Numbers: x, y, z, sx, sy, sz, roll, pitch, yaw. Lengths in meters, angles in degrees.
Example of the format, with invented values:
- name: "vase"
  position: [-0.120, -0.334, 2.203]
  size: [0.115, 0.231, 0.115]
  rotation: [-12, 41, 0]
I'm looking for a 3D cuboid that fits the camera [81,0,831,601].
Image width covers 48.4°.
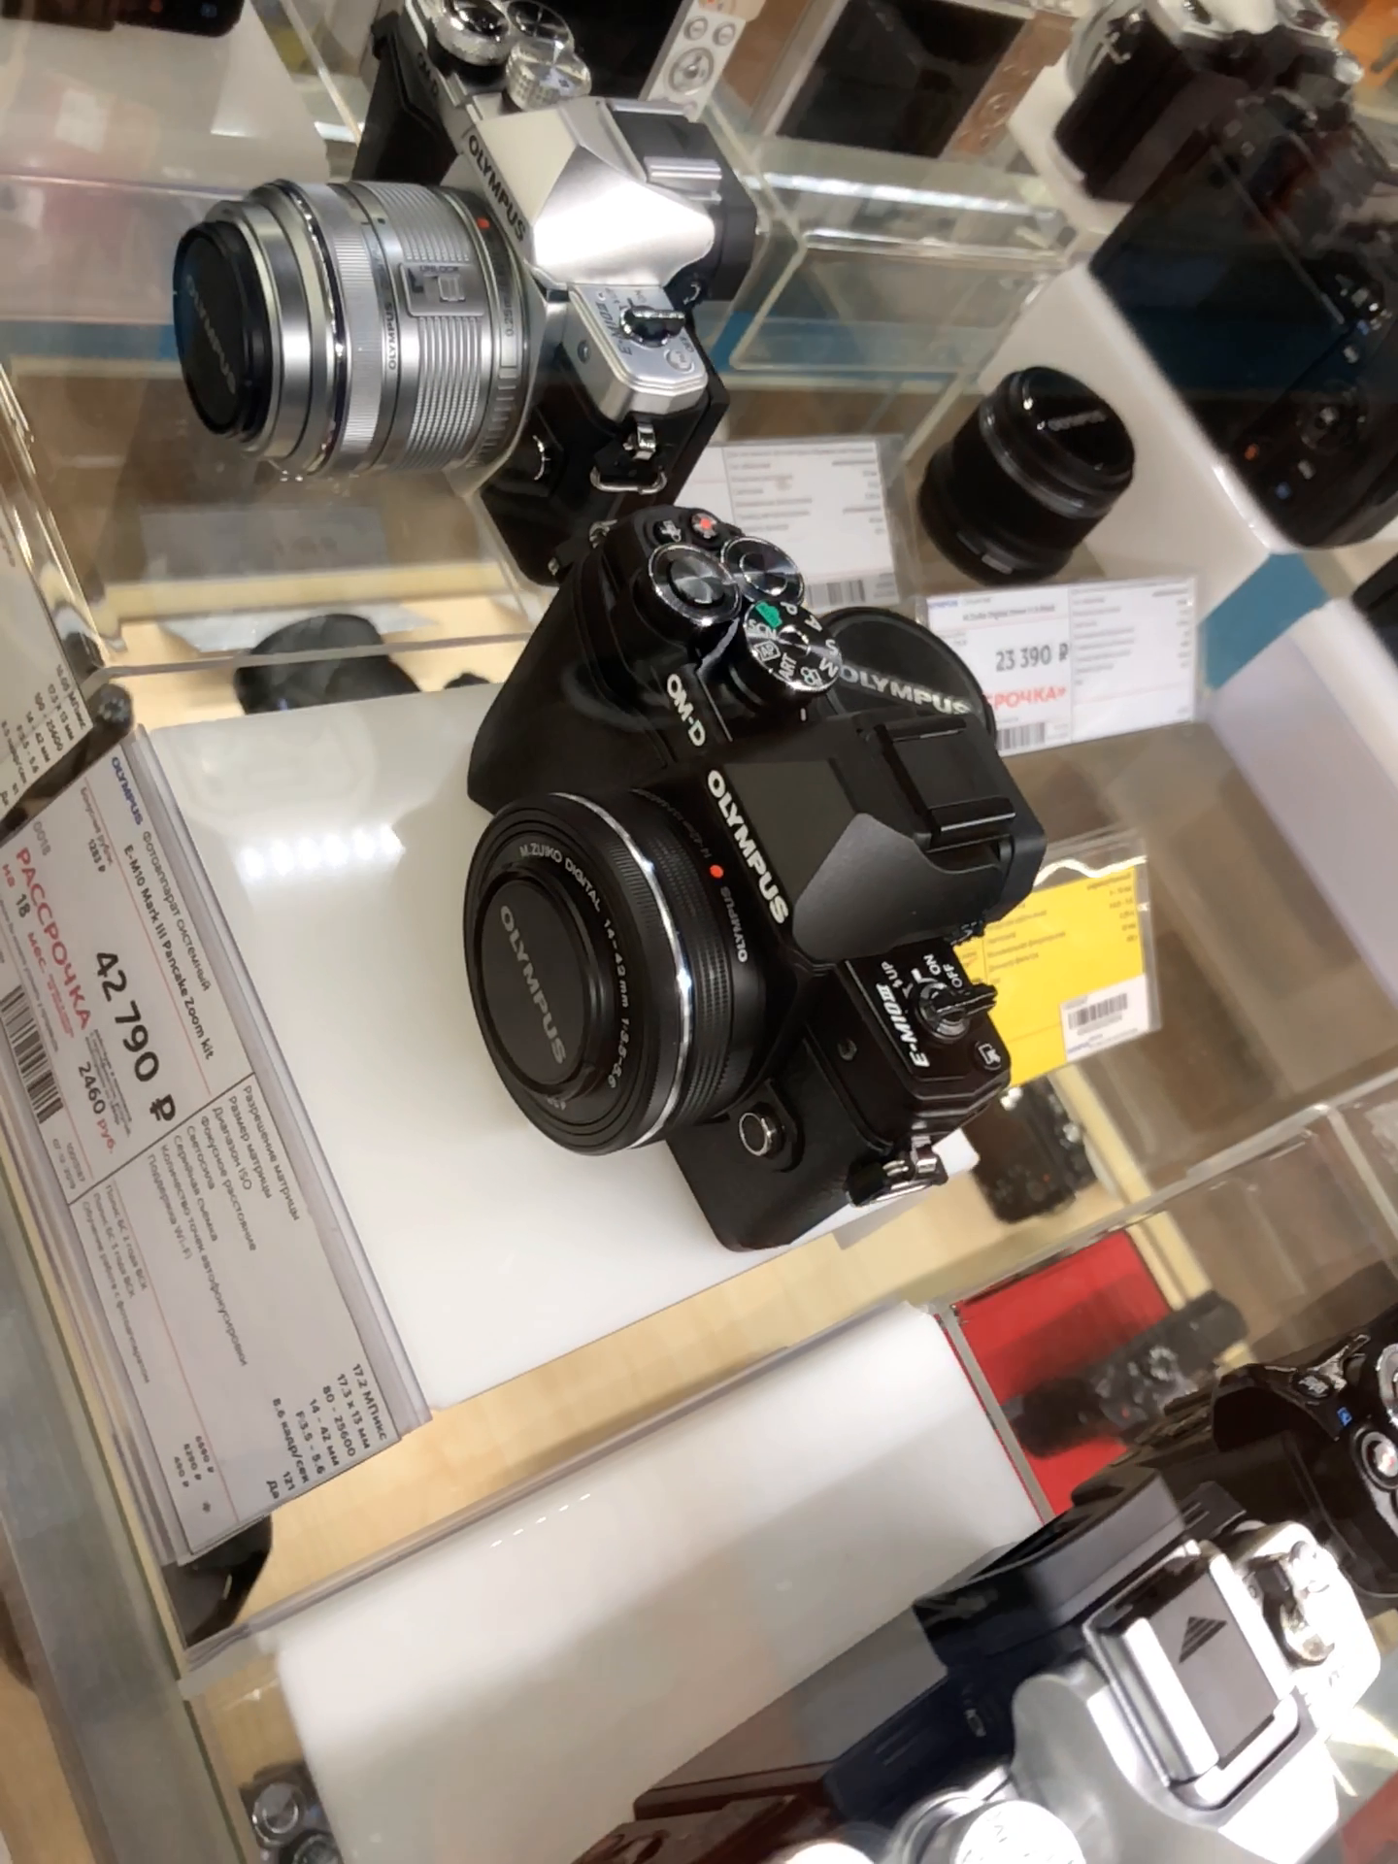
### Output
- name: "camera"
  position: [-0.053, -0.137, 0.310]
  size: [0.094, 0.080, 0.112]
  rotation: [-10, 65, -36]

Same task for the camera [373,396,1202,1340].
- name: "camera"
  position: [0.007, -0.012, 0.269]
  size: [0.064, 0.082, 0.129]
  rotation: [-10, 65, -36]

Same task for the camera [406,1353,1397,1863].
- name: "camera"
  position: [0.048, 0.131, 0.196]
  size: [0.124, 0.074, 0.094]
  rotation: [-15, 68, -38]
